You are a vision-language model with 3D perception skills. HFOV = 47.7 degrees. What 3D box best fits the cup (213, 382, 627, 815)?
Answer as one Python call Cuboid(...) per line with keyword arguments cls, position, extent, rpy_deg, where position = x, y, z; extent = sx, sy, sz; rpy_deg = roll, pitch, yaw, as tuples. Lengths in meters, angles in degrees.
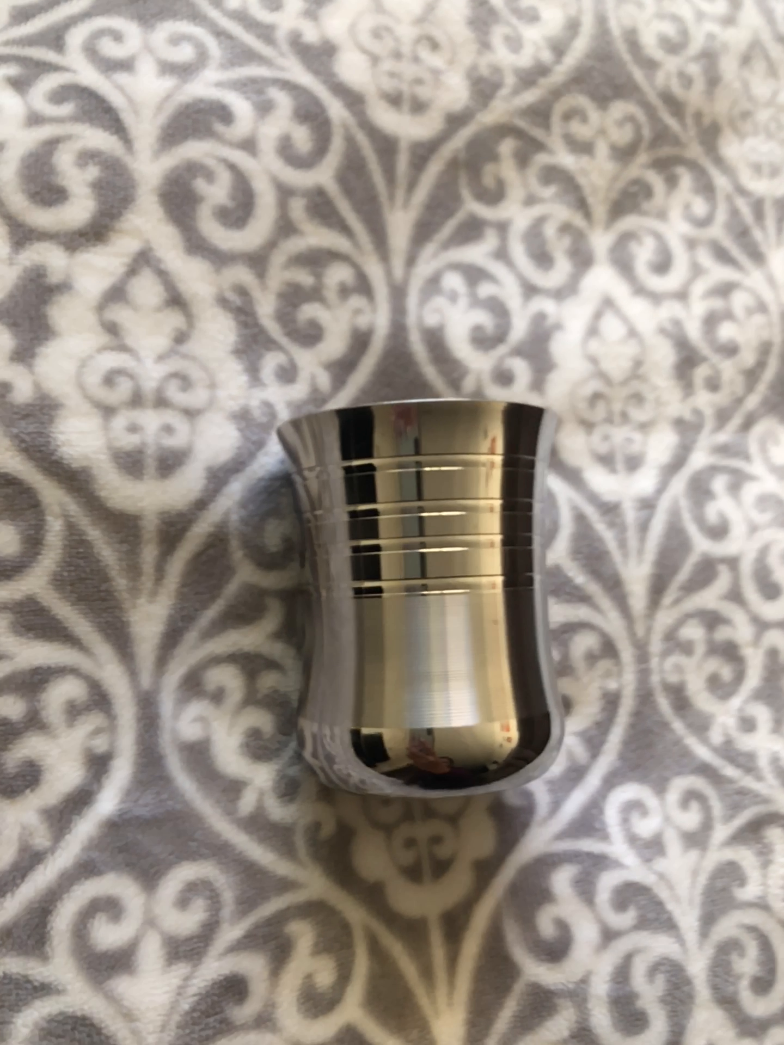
Cuboid(cls="cup", position=(0.001, 0.019, 0.220), extent=(0.077, 0.066, 0.086), rpy_deg=(-1, 80, -20))
